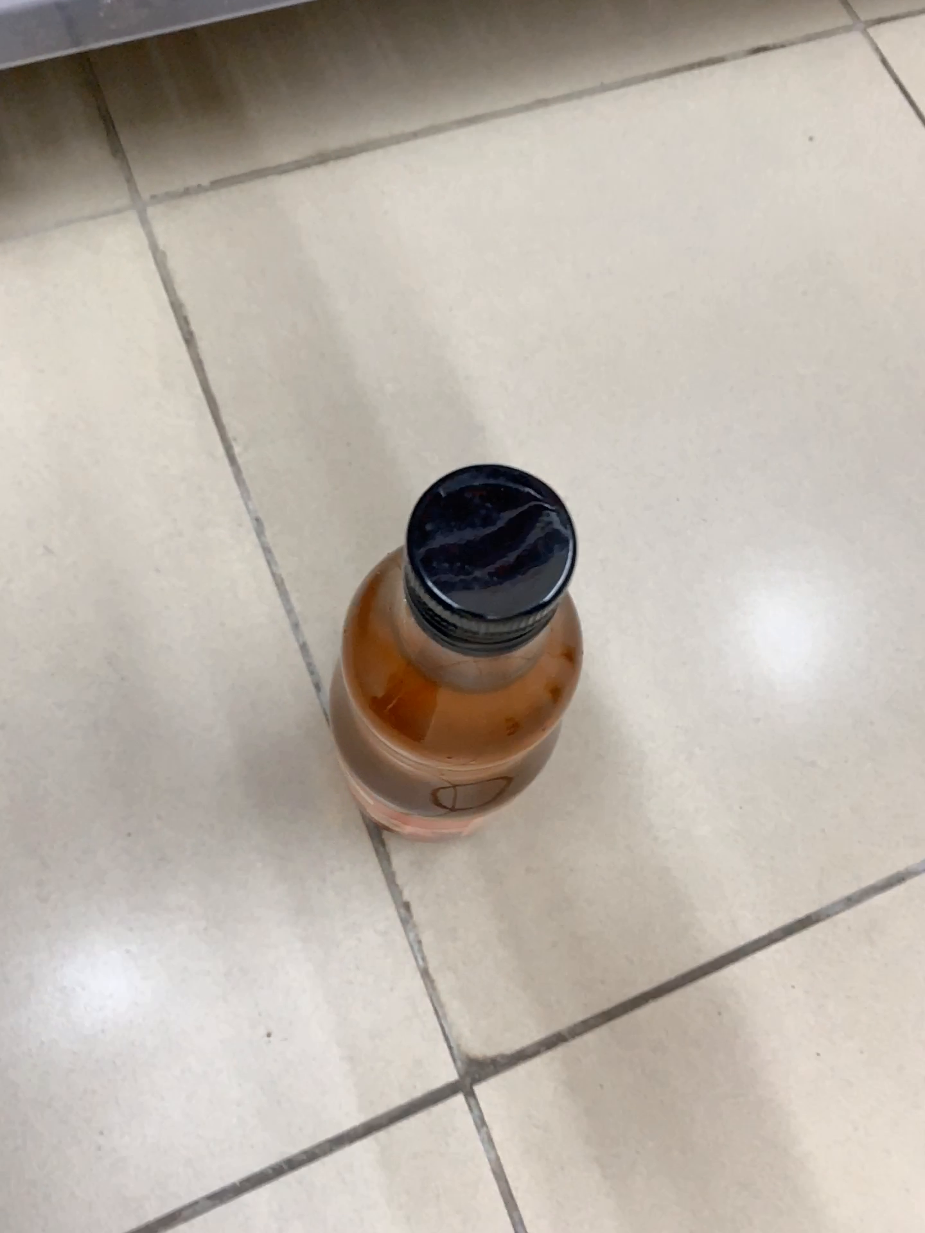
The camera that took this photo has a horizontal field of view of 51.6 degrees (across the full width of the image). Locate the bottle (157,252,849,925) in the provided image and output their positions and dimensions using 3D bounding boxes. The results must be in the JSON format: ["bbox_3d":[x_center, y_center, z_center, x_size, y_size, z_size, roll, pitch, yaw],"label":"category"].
[{"bbox_3d":[-0.001,0.021,0.254,0.080,0.210,0.080,1,71,-4],"label":"bottle"}]
